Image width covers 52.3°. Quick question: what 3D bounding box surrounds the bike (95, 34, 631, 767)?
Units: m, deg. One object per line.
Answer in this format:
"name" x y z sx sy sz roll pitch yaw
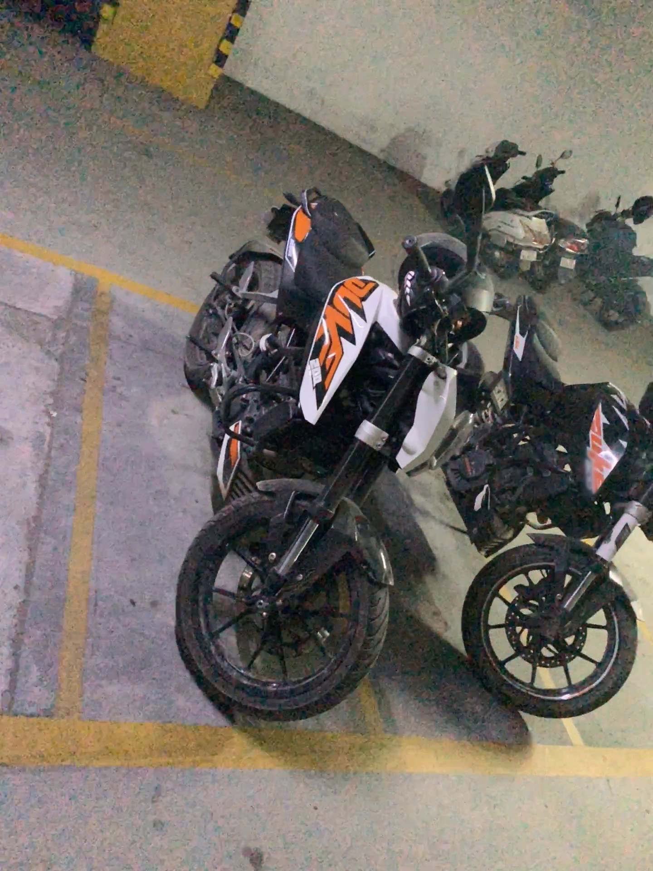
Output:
"bike" -0.104 -0.209 2.208 0.804 1.181 1.918 16 39 -29
